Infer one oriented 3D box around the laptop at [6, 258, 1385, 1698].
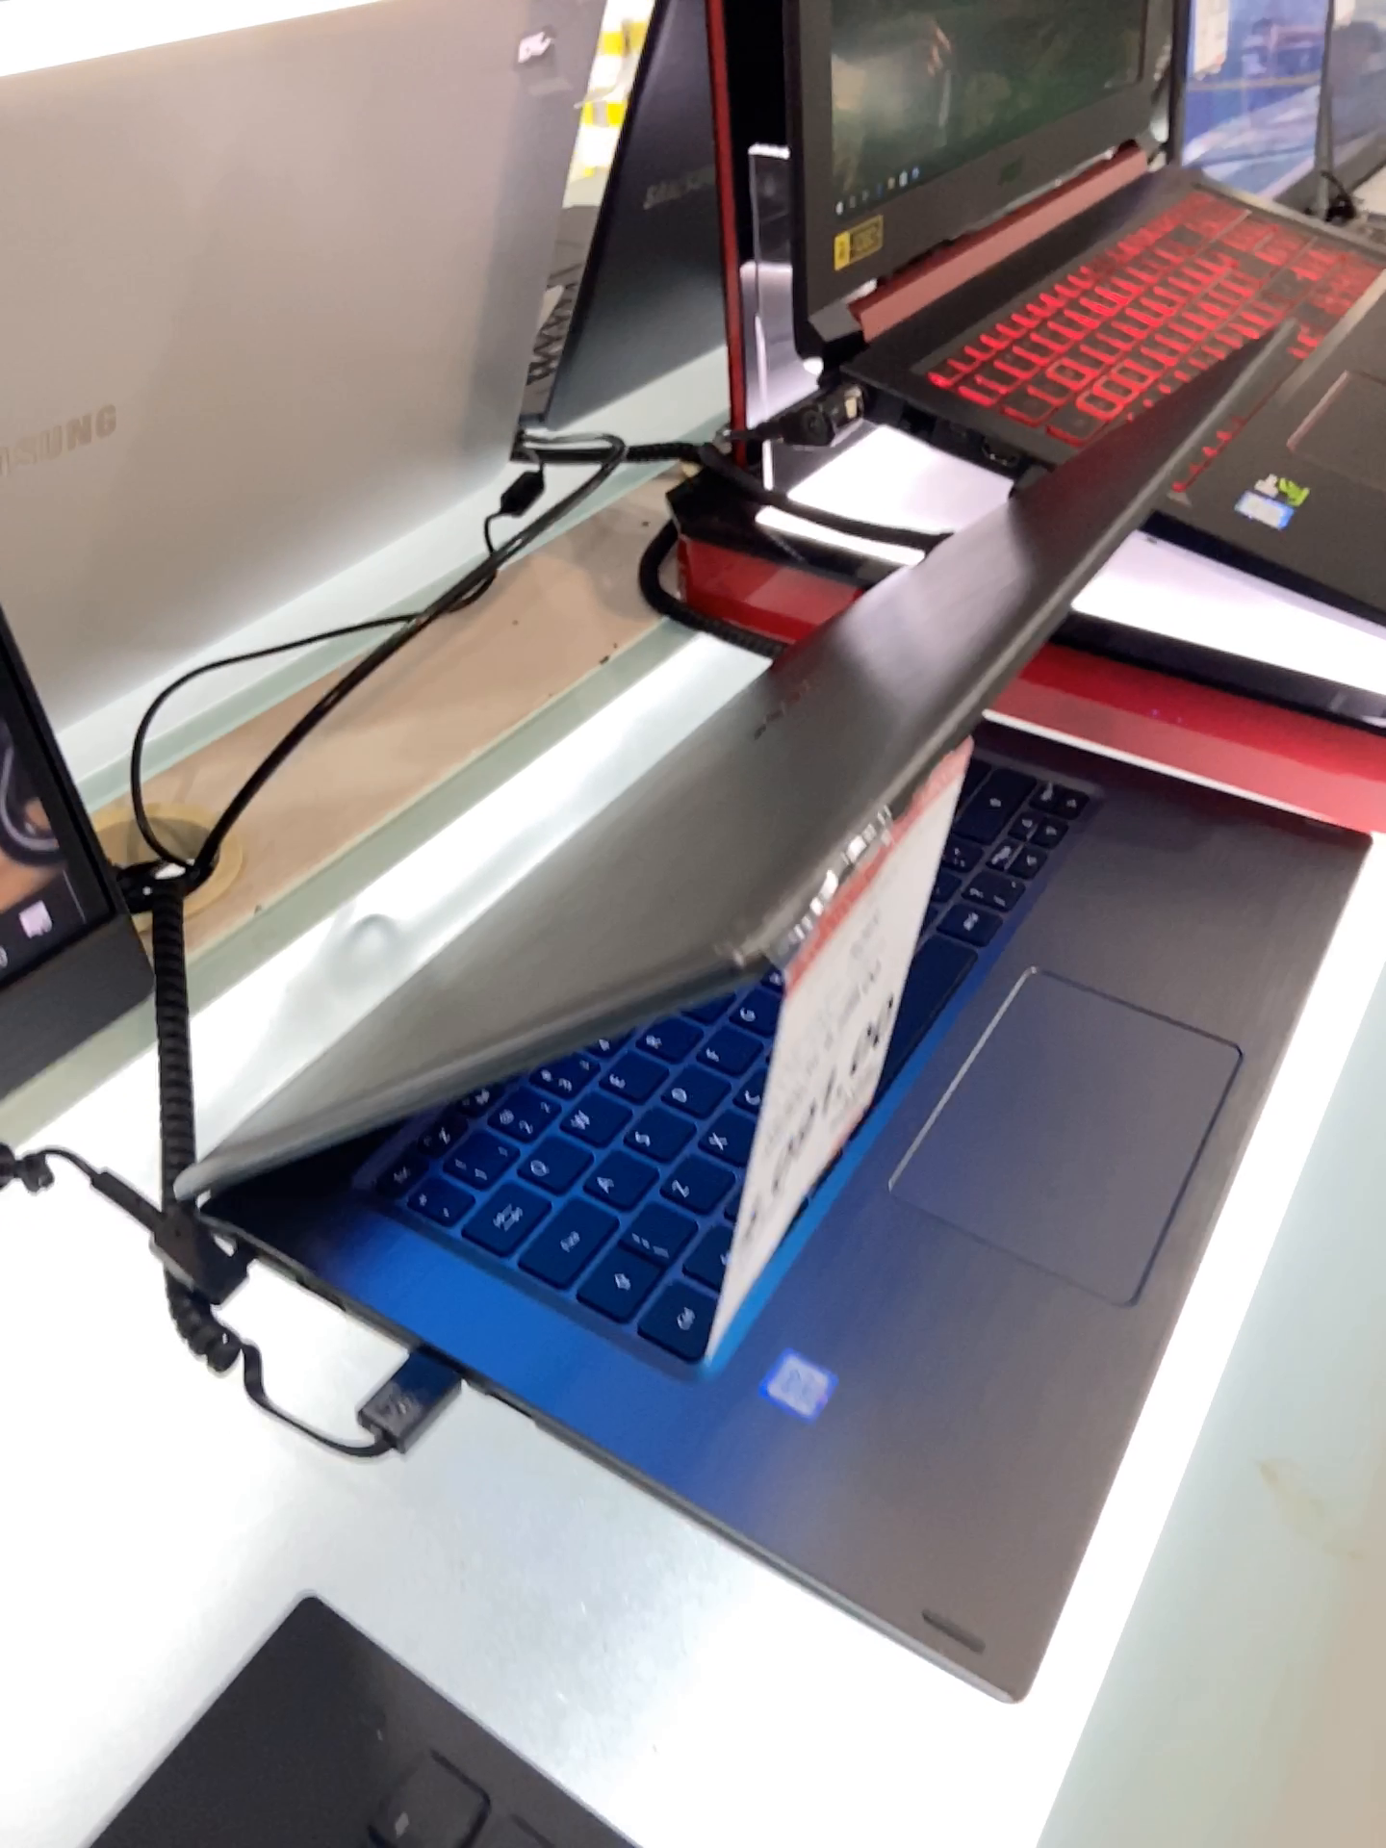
[{"bbox_3d":[0.053,-0.038,0.377,0.218,0.154,0.329,21,43,23],"label":"laptop"}]
